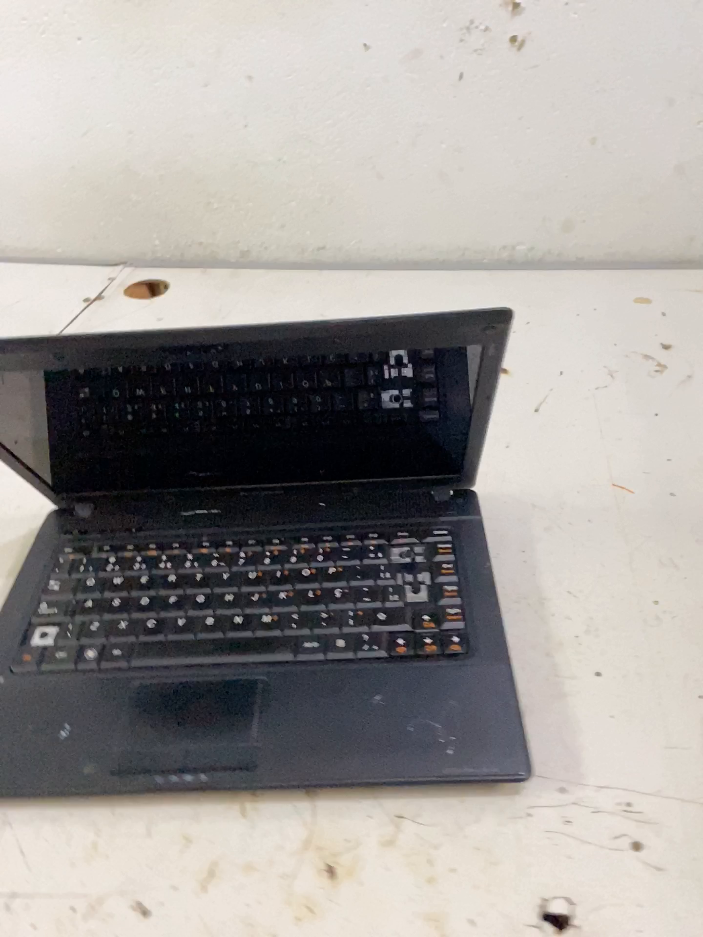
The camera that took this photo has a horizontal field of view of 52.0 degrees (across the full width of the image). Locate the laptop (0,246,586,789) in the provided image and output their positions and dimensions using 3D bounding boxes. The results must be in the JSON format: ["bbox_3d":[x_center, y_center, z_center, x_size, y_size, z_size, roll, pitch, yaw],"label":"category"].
[{"bbox_3d":[-0.073,0.021,0.419,0.333,0.194,0.224,-3,39,2],"label":"laptop"}]
